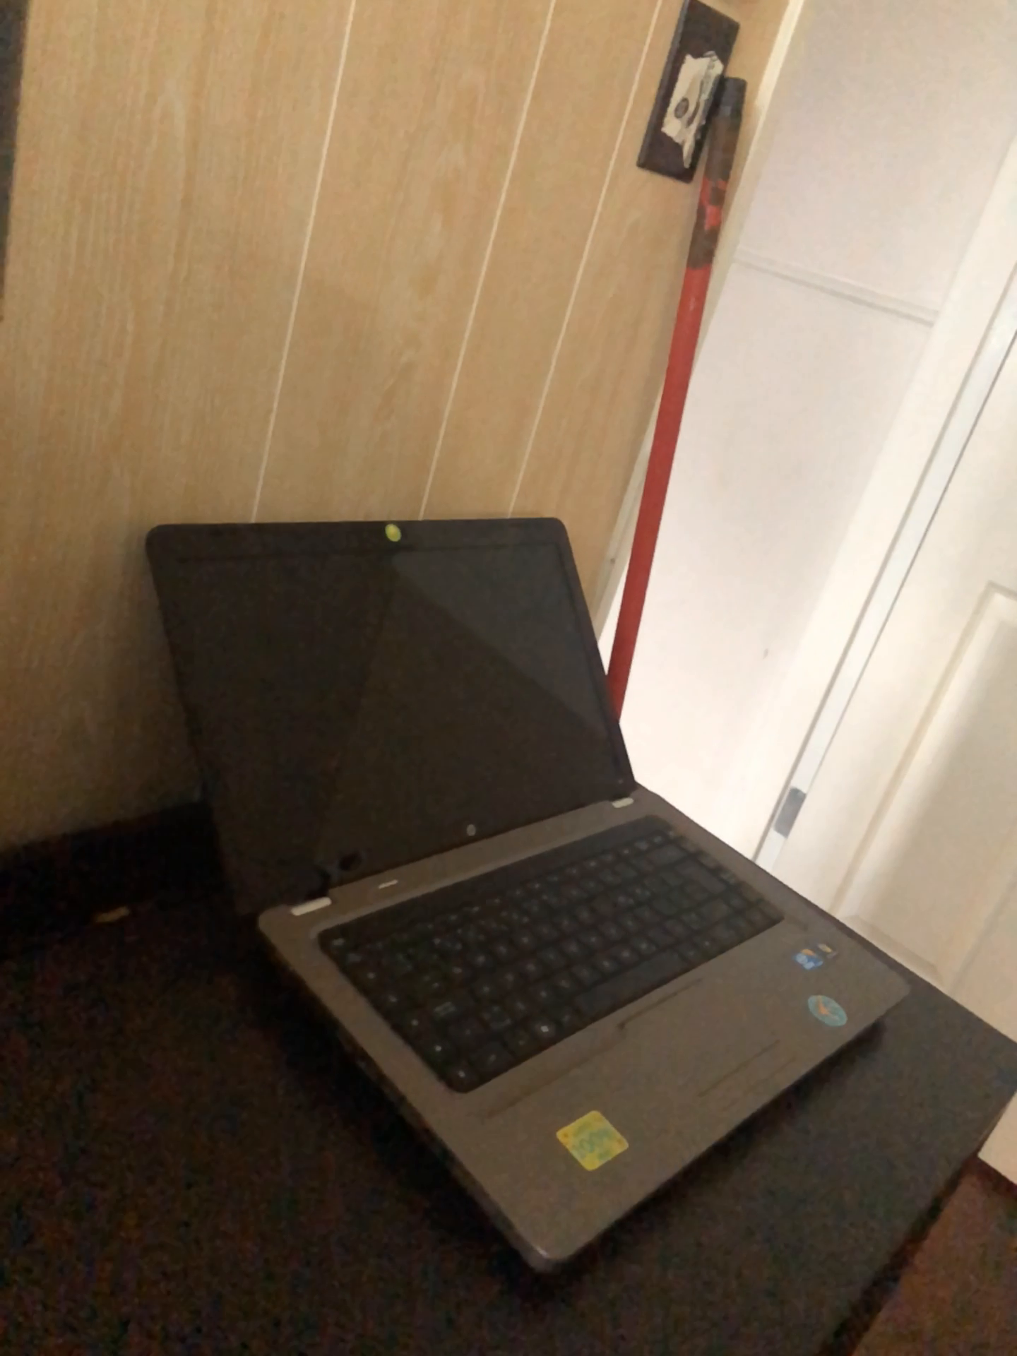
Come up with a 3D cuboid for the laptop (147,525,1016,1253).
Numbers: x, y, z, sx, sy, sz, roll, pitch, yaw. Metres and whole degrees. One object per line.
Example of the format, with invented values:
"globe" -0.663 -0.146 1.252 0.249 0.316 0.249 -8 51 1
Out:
"laptop" 0.041 0.066 0.710 0.357 0.166 0.402 -10 36 -45
